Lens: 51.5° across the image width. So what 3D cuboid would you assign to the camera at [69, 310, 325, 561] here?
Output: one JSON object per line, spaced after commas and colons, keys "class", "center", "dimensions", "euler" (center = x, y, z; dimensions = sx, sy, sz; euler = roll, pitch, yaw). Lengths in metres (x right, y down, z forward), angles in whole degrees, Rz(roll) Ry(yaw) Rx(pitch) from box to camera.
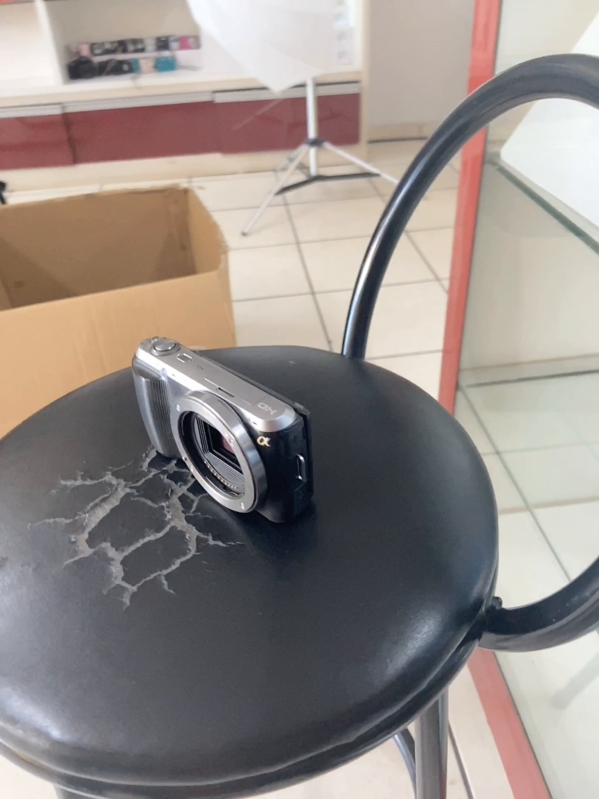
{"class": "camera", "center": [-0.048, 0.011, 0.282], "dimensions": [0.120, 0.060, 0.040], "euler": [27, 46, 35]}
